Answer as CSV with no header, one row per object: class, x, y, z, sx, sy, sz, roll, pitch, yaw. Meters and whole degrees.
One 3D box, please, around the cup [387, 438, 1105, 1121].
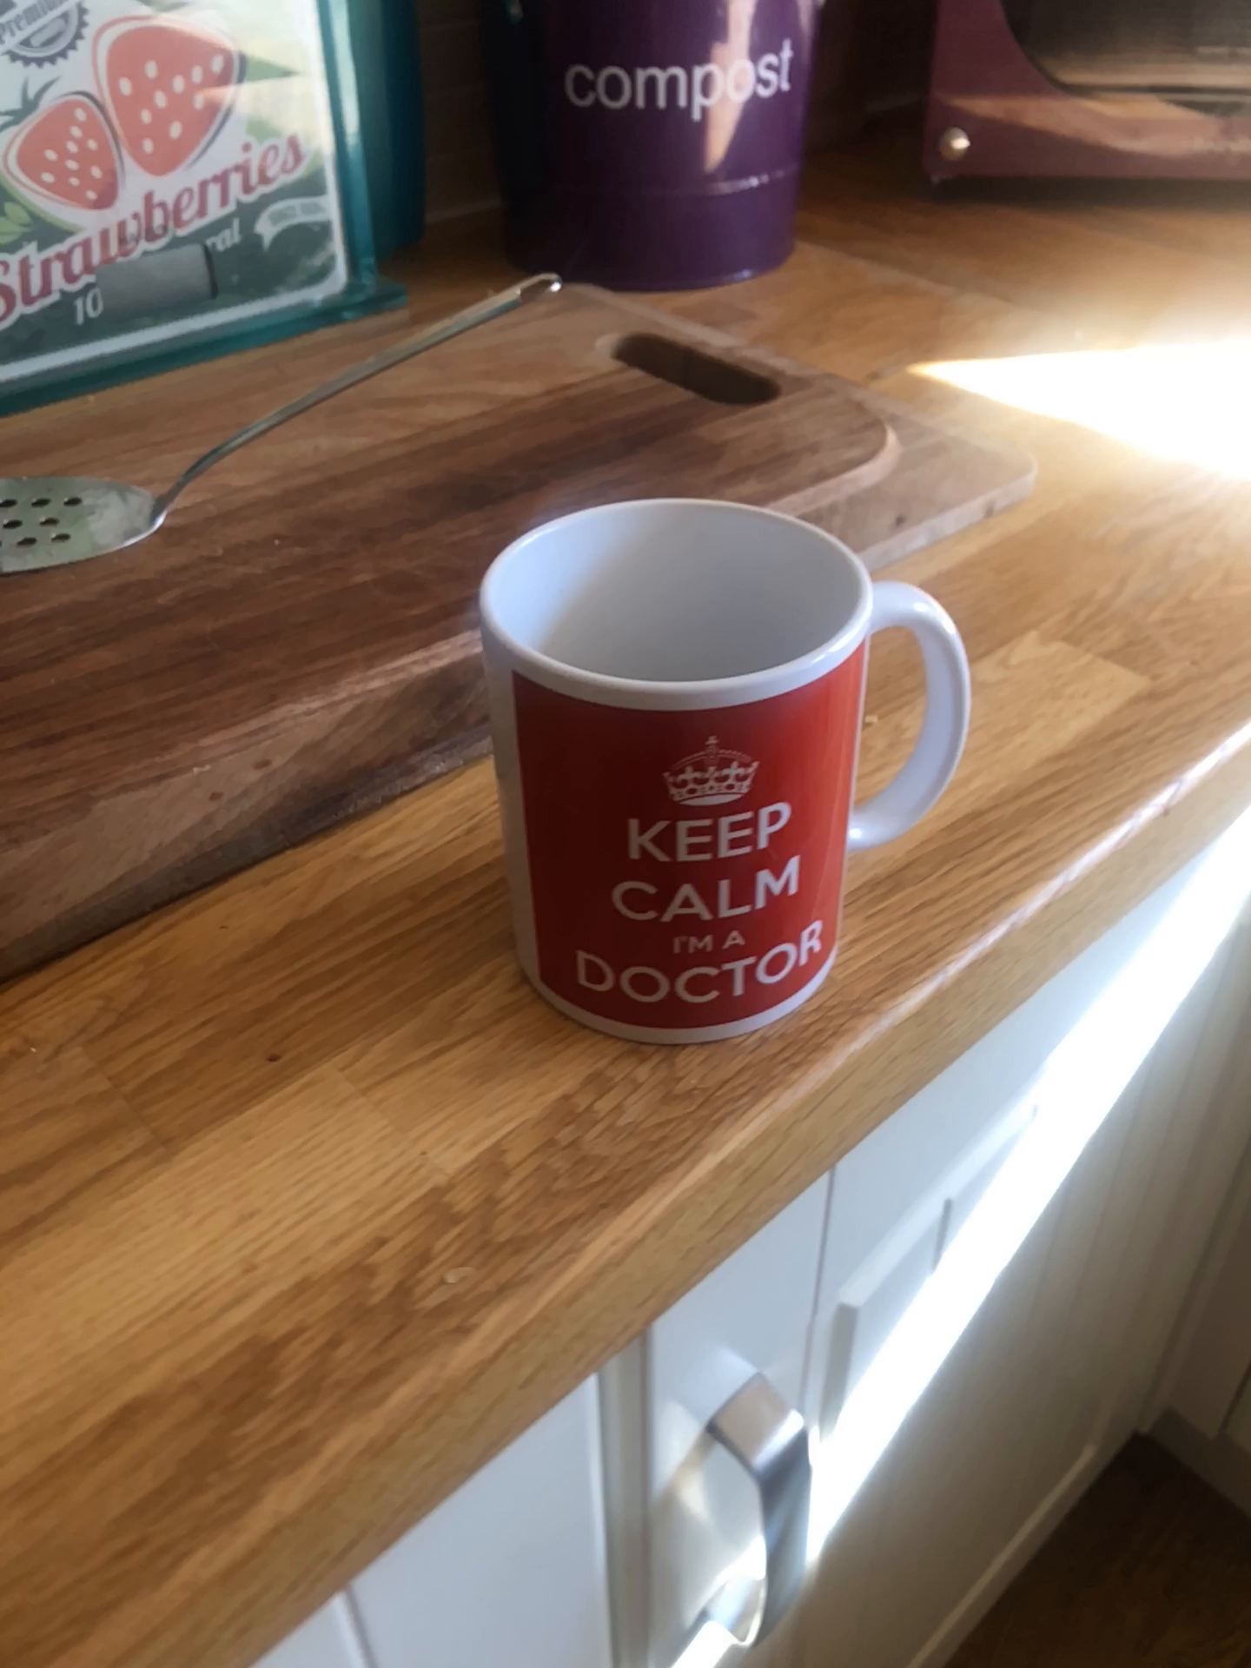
cup,0.026,-0.020,0.323,0.124,0.094,0.089,-21,39,-23
